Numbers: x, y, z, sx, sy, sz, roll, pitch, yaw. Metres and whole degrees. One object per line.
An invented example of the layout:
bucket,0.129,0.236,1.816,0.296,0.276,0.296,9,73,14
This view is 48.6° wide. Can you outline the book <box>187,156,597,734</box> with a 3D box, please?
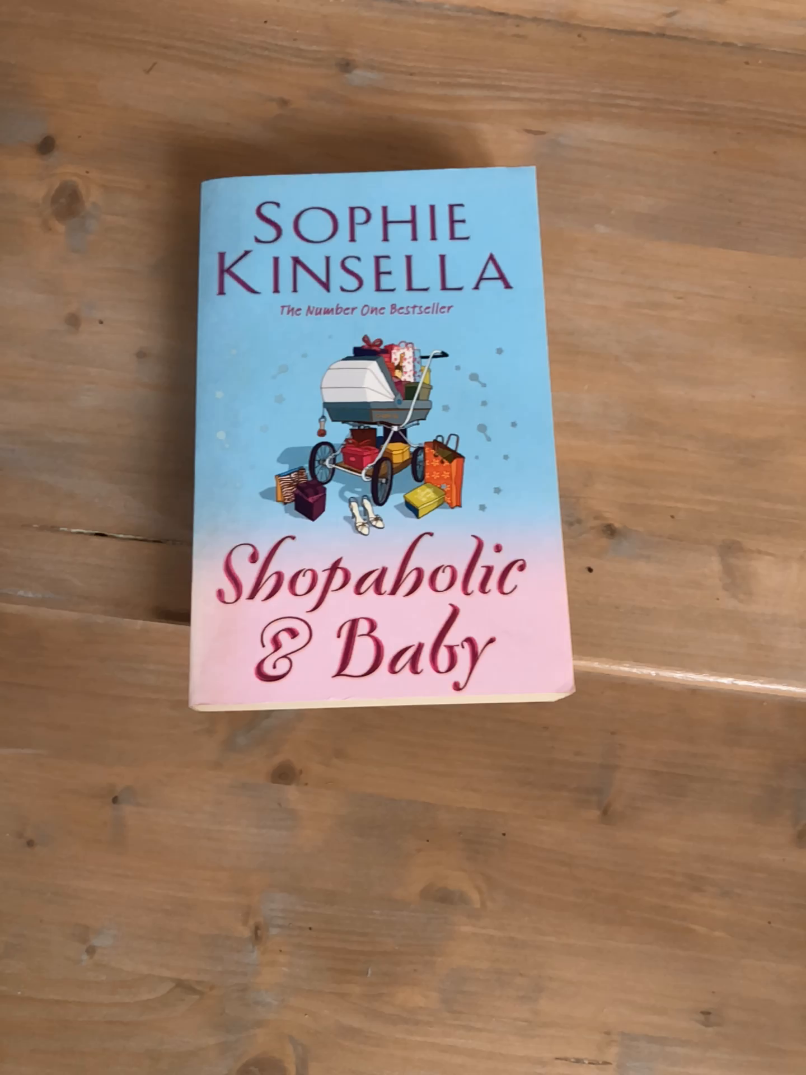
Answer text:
book,-0.007,-0.039,0.328,0.131,0.031,0.211,-2,74,-1
